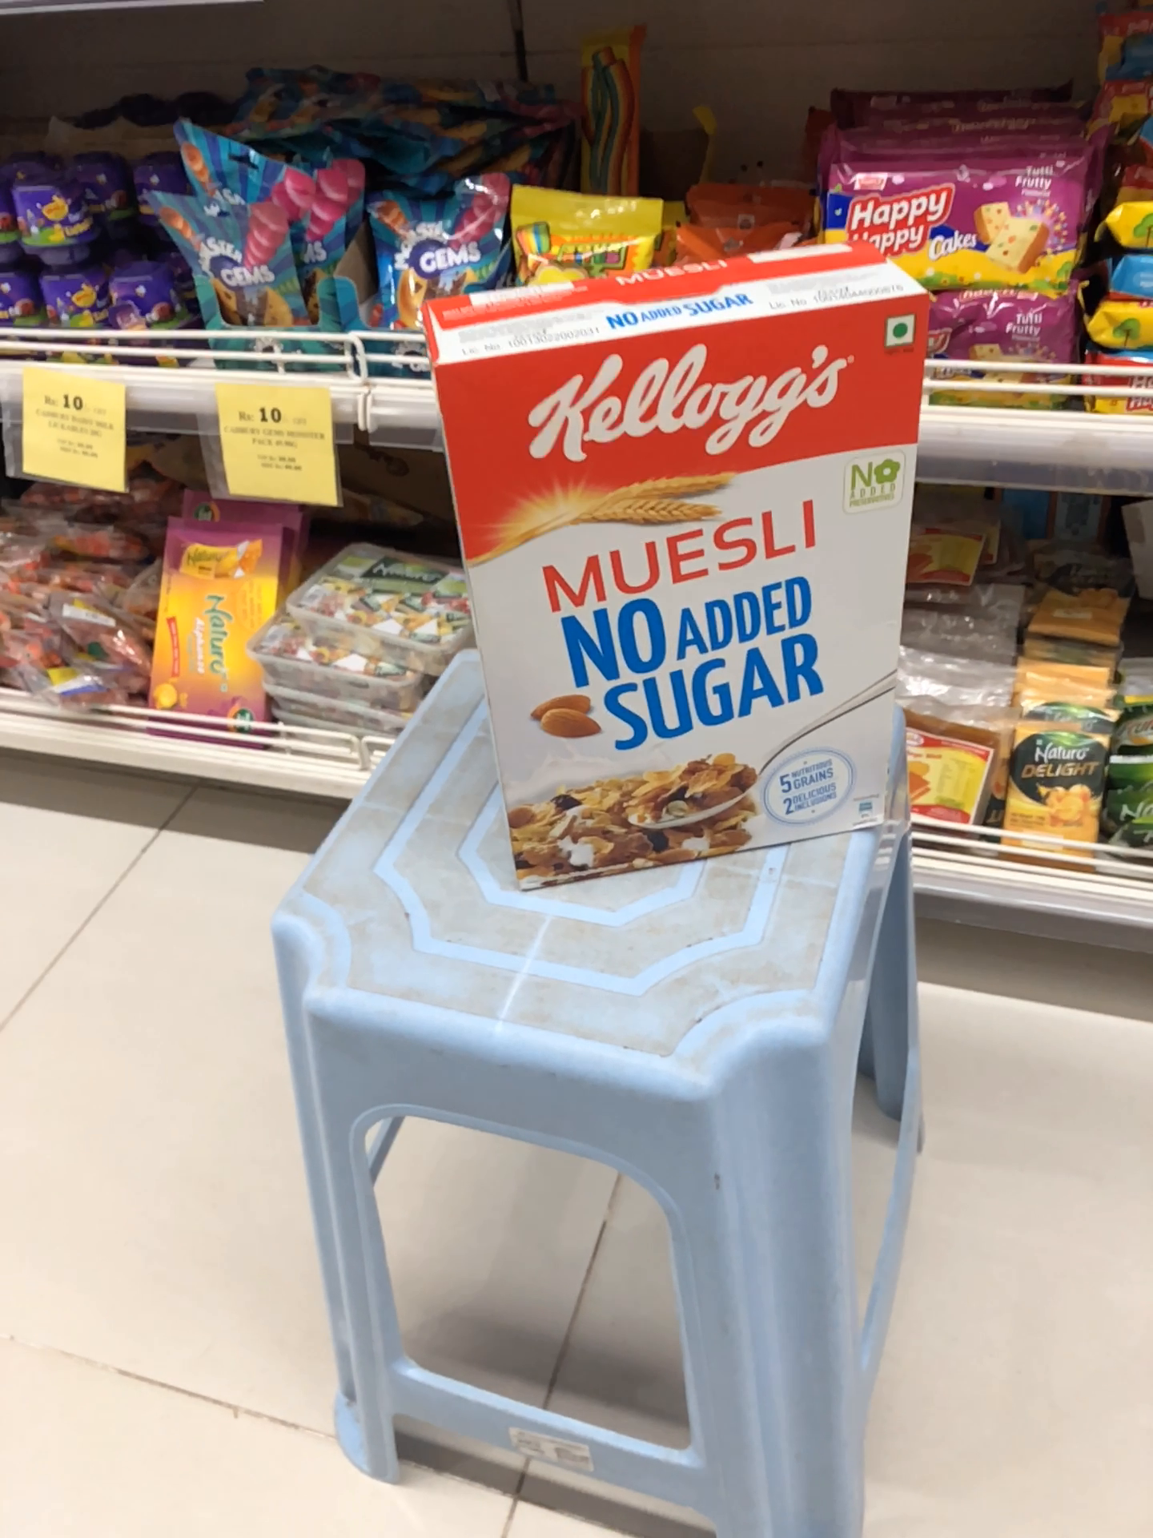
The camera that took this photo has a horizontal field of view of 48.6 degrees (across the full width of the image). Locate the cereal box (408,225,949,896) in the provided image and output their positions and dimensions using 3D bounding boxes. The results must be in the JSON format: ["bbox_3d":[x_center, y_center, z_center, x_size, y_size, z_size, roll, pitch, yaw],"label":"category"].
[{"bbox_3d":[0.046,-0.079,0.557,0.190,0.259,0.070,-11,39,-5],"label":"cereal box"}]
